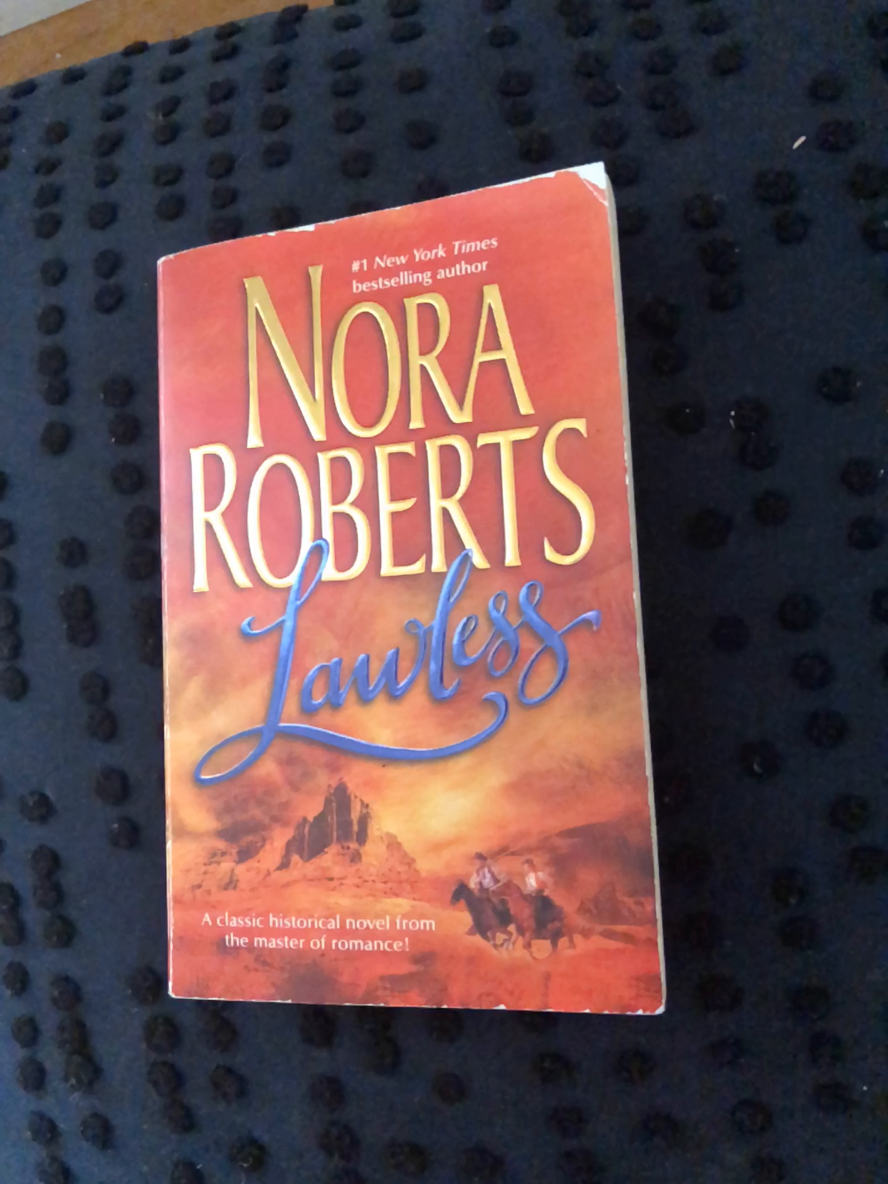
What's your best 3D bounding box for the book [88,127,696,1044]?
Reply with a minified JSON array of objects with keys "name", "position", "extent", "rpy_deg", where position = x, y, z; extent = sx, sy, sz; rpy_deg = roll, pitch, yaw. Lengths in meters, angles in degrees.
[{"name":"book","position":[-0.014,0.000,0.222],"extent":[0.120,0.040,0.180],"rpy_deg":[-4,83,10]}]
